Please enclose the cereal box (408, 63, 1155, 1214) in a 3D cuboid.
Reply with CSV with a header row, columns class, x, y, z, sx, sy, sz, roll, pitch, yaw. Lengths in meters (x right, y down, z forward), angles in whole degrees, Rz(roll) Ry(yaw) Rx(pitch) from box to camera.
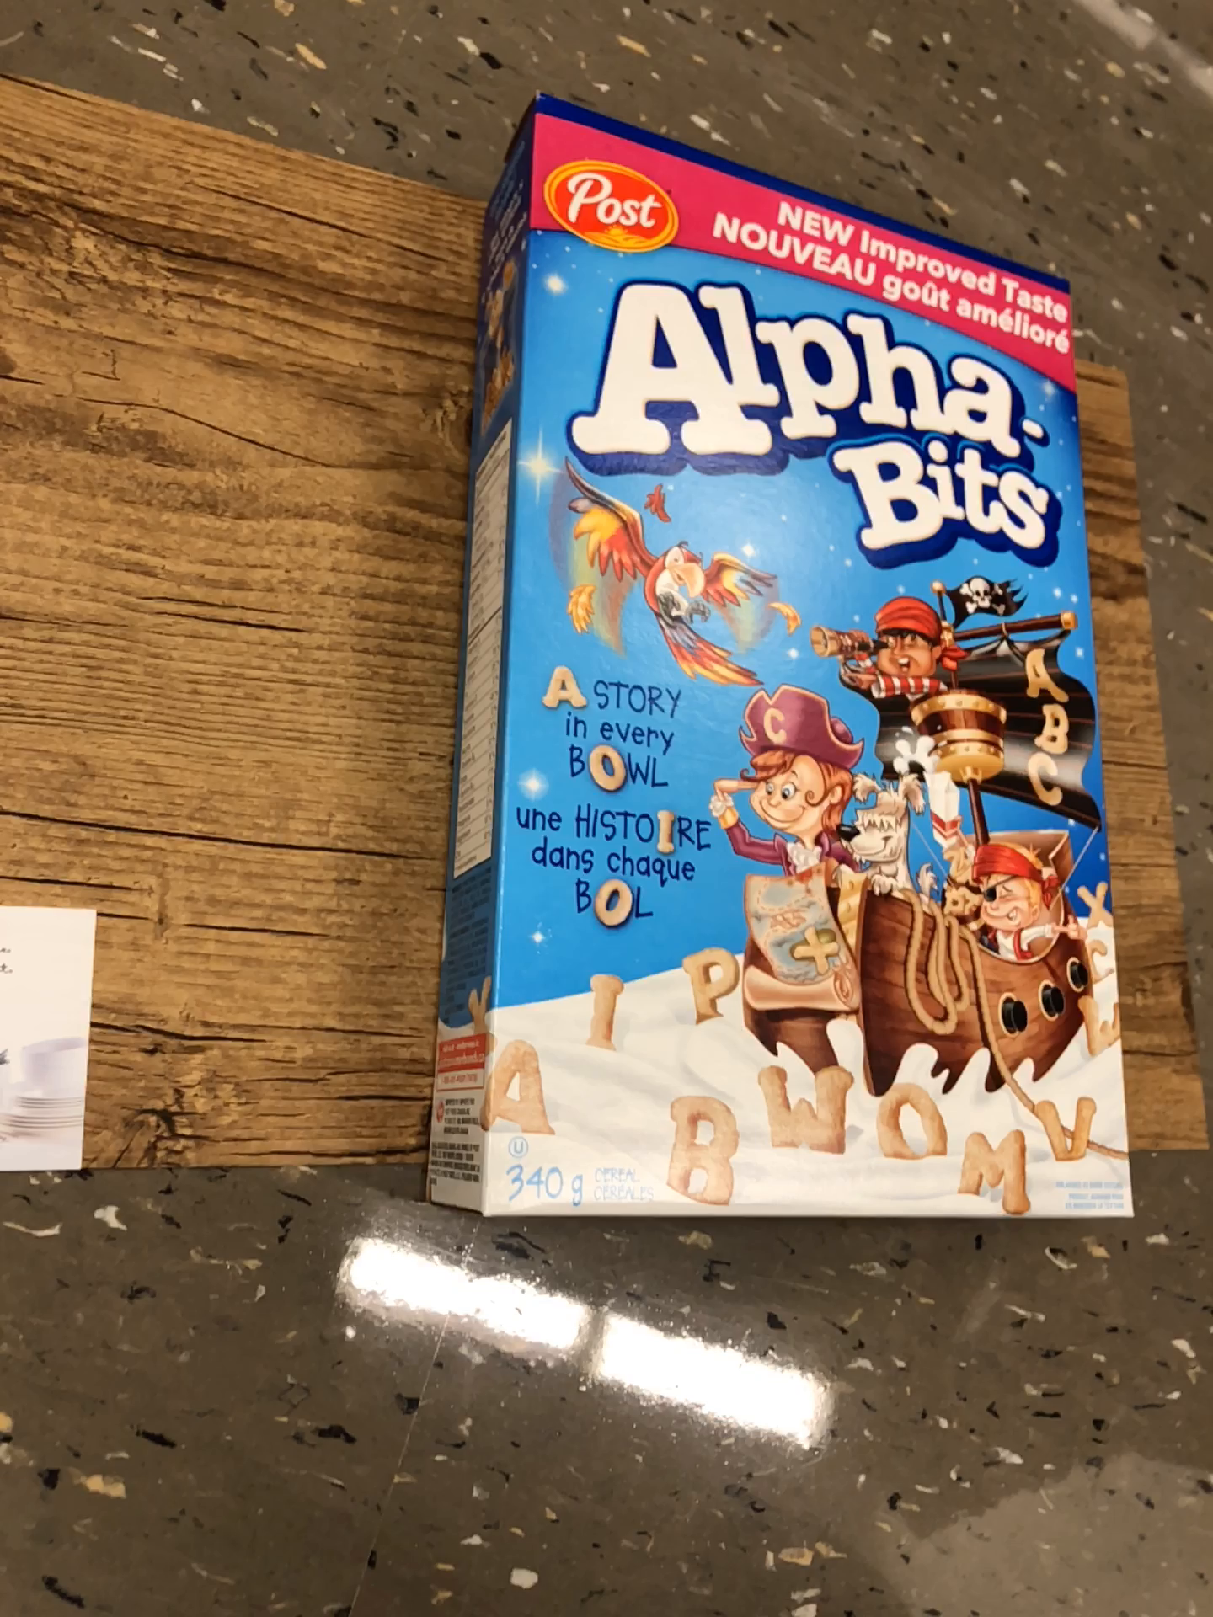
class,x,y,z,sx,sy,sz,roll,pitch,yaw
cereal box,0.056,-0.042,0.408,0.201,0.060,0.310,8,75,-22
